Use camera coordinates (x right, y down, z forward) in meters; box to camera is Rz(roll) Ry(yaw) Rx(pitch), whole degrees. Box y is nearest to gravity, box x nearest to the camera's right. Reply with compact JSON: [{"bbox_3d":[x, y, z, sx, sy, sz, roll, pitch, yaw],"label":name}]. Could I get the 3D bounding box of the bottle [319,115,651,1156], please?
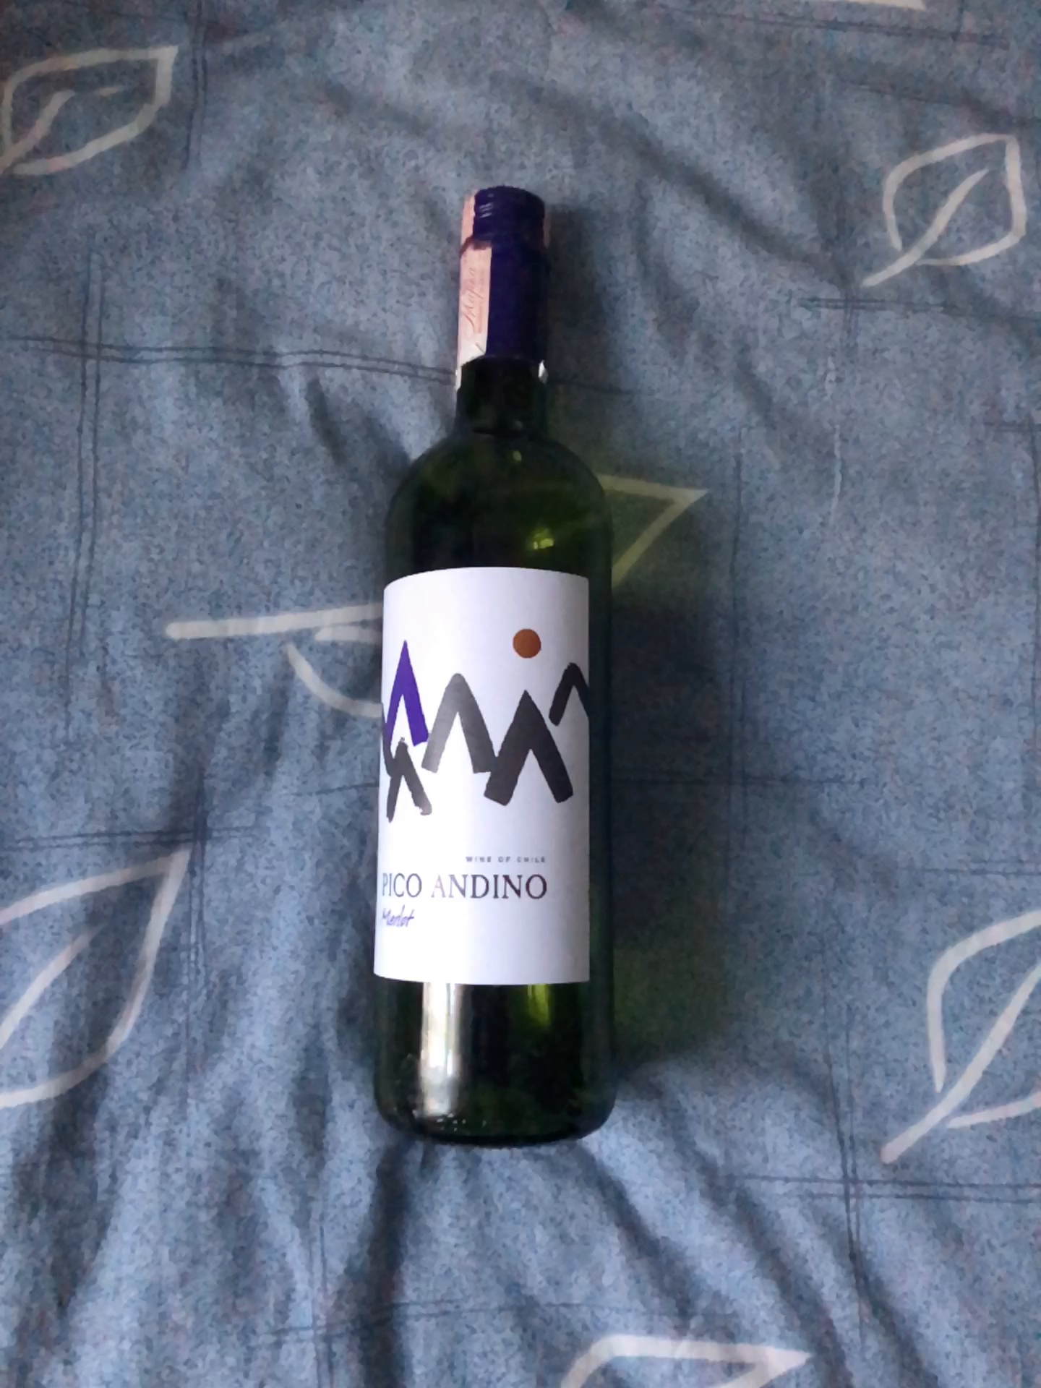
[{"bbox_3d":[-0.006,-0.019,0.363,0.080,0.080,0.290,-2,81,14],"label":"bottle"}]
